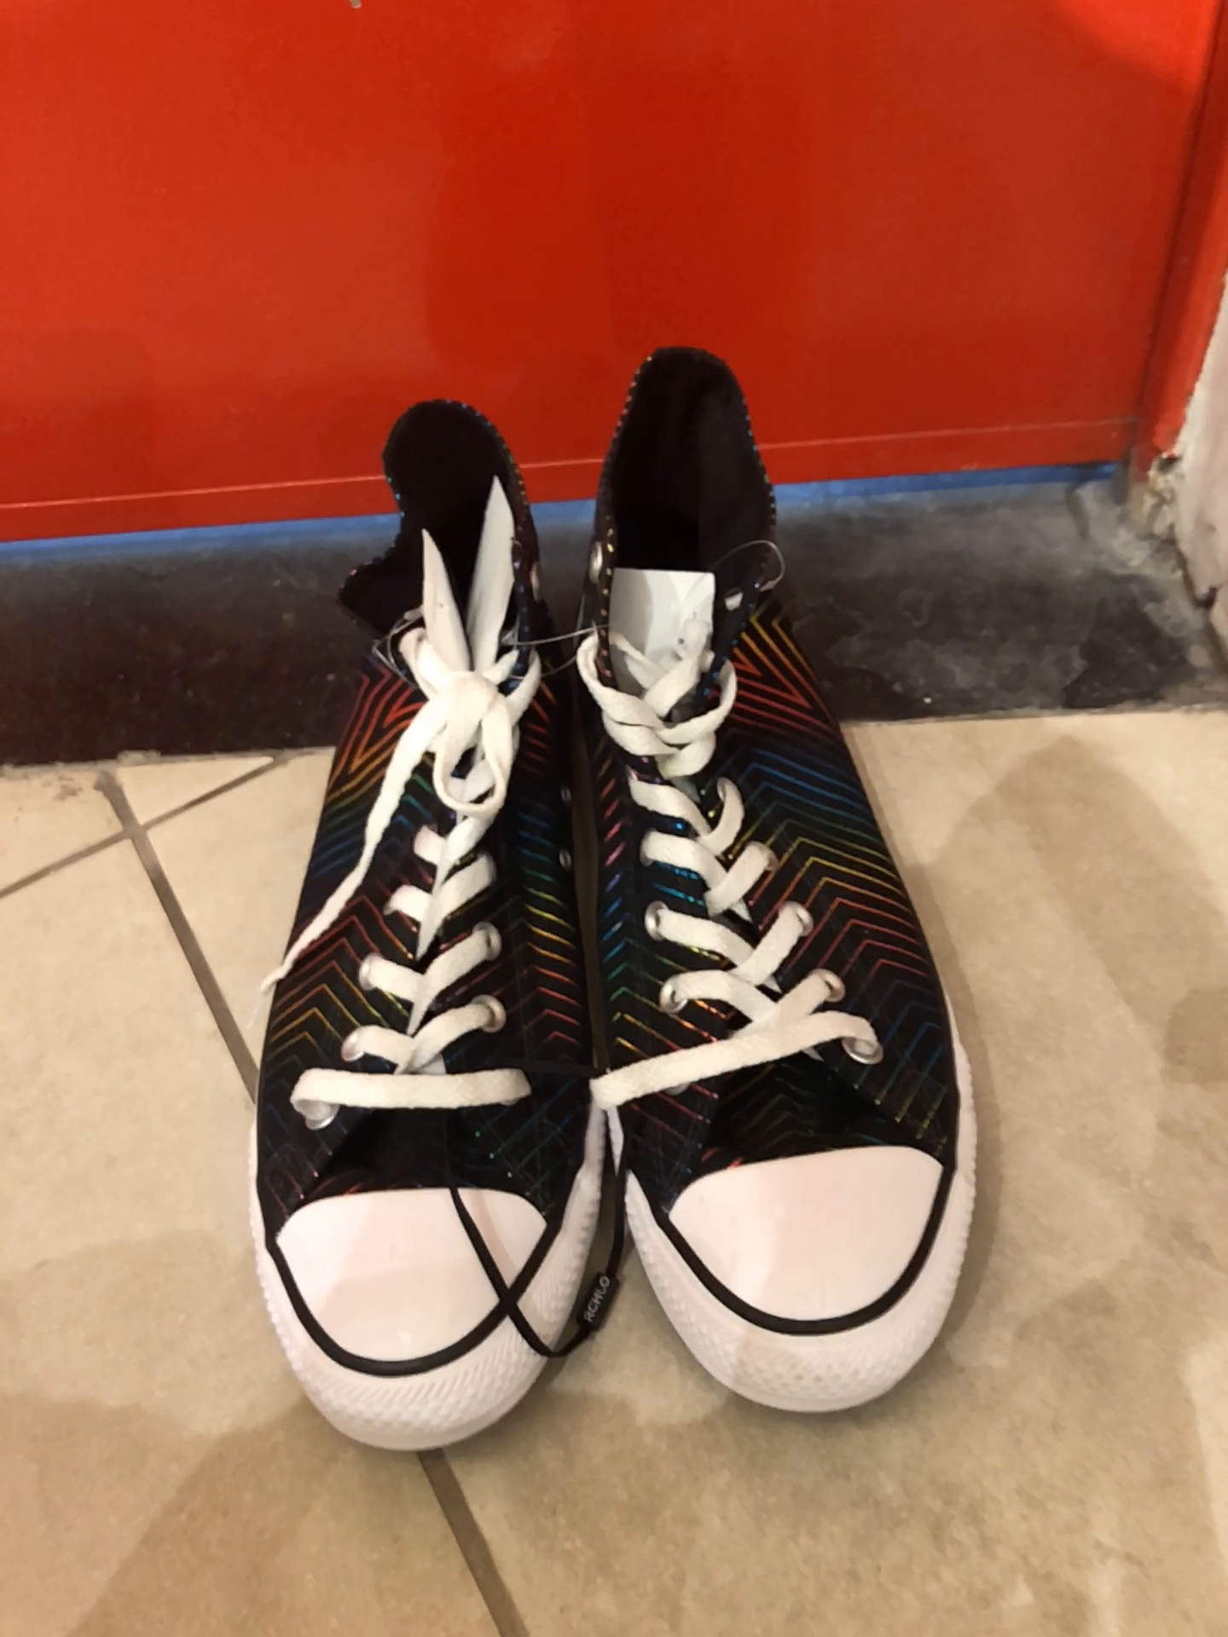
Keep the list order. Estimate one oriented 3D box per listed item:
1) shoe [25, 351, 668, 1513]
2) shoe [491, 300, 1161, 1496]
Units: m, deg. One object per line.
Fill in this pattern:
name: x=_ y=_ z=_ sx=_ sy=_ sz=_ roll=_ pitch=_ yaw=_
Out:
shoe: x=-0.054 y=0.016 z=0.404 sx=0.110 sy=0.139 sz=0.312 roll=-6 pitch=51 yaw=4
shoe: x=0.036 y=0.004 z=0.393 sx=0.110 sy=0.139 sz=0.312 roll=-8 pitch=51 yaw=2
